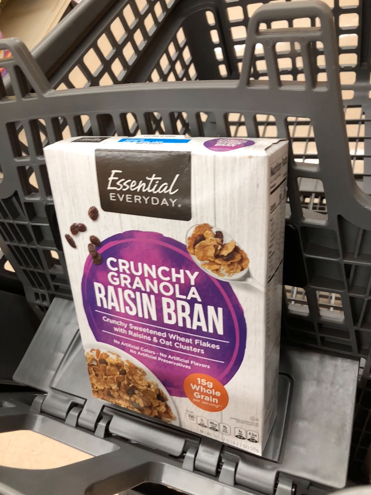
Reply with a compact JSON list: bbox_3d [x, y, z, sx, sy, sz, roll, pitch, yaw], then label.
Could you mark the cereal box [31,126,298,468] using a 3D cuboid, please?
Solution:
[{"bbox_3d":[-0.013,0.038,0.376,0.200,0.280,0.070,8,26,25],"label":"cereal box"}]
